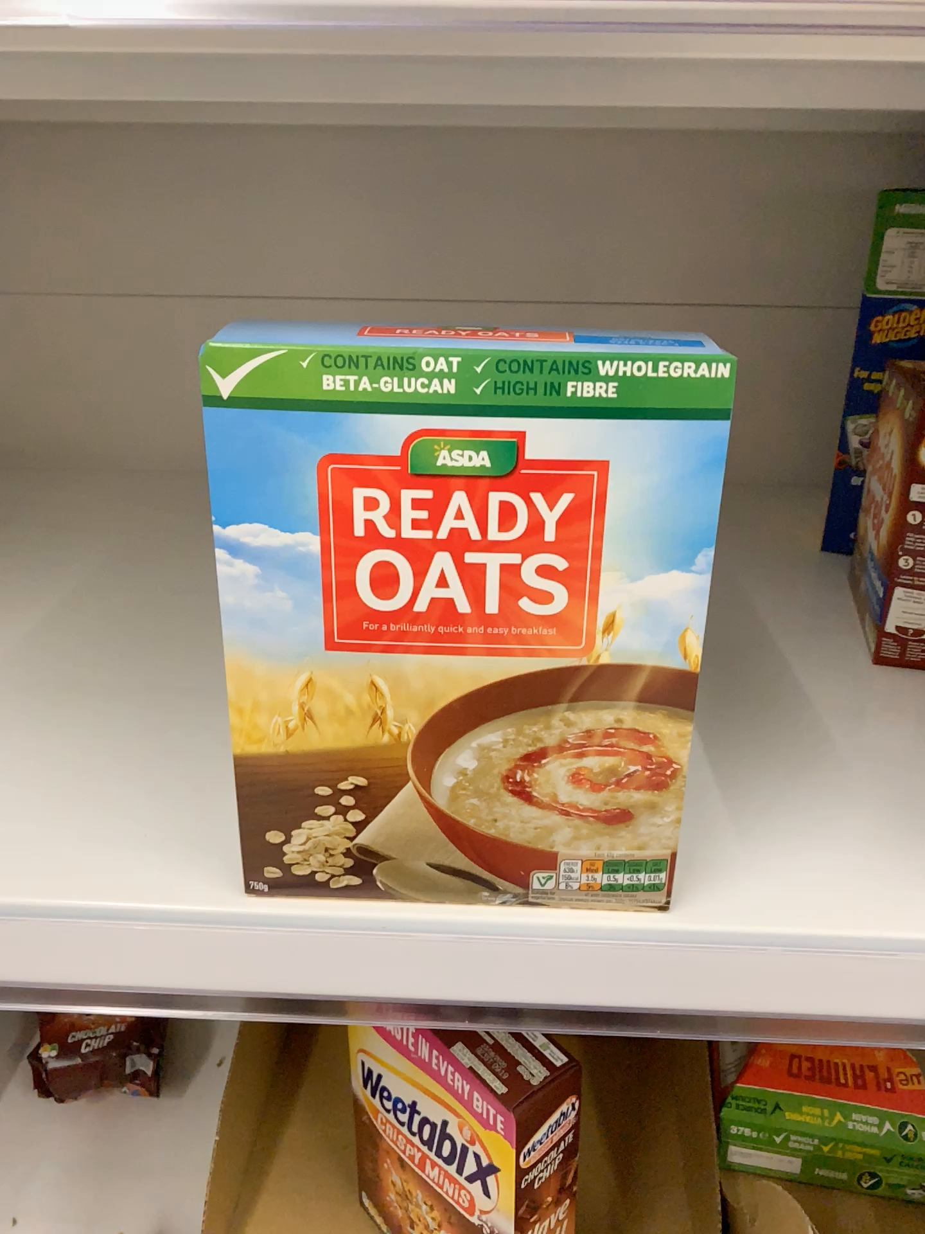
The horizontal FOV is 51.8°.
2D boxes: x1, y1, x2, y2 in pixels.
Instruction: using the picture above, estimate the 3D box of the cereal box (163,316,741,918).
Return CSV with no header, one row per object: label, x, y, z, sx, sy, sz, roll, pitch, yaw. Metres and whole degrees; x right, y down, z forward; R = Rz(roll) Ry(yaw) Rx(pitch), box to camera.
cereal box,-0.005,0.005,0.429,0.210,0.258,0.071,2,24,2
